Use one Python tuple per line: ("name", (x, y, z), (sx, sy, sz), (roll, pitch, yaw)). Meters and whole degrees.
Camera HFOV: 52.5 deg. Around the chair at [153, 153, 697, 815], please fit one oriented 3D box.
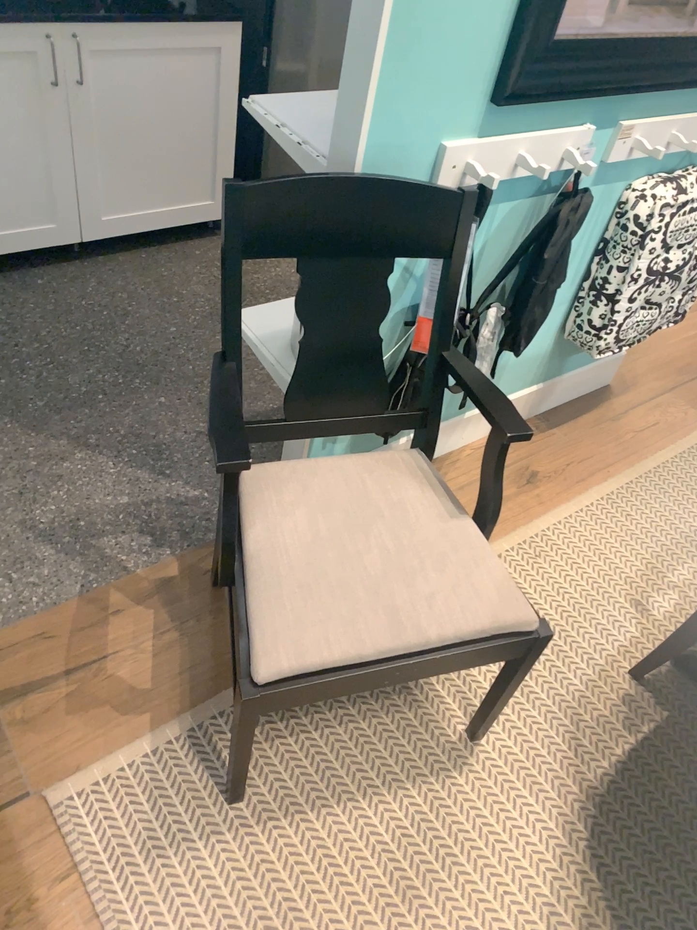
("chair", (-0.008, 0.031, 1.370), (0.601, 0.897, 0.802), (-6, 48, -19))
